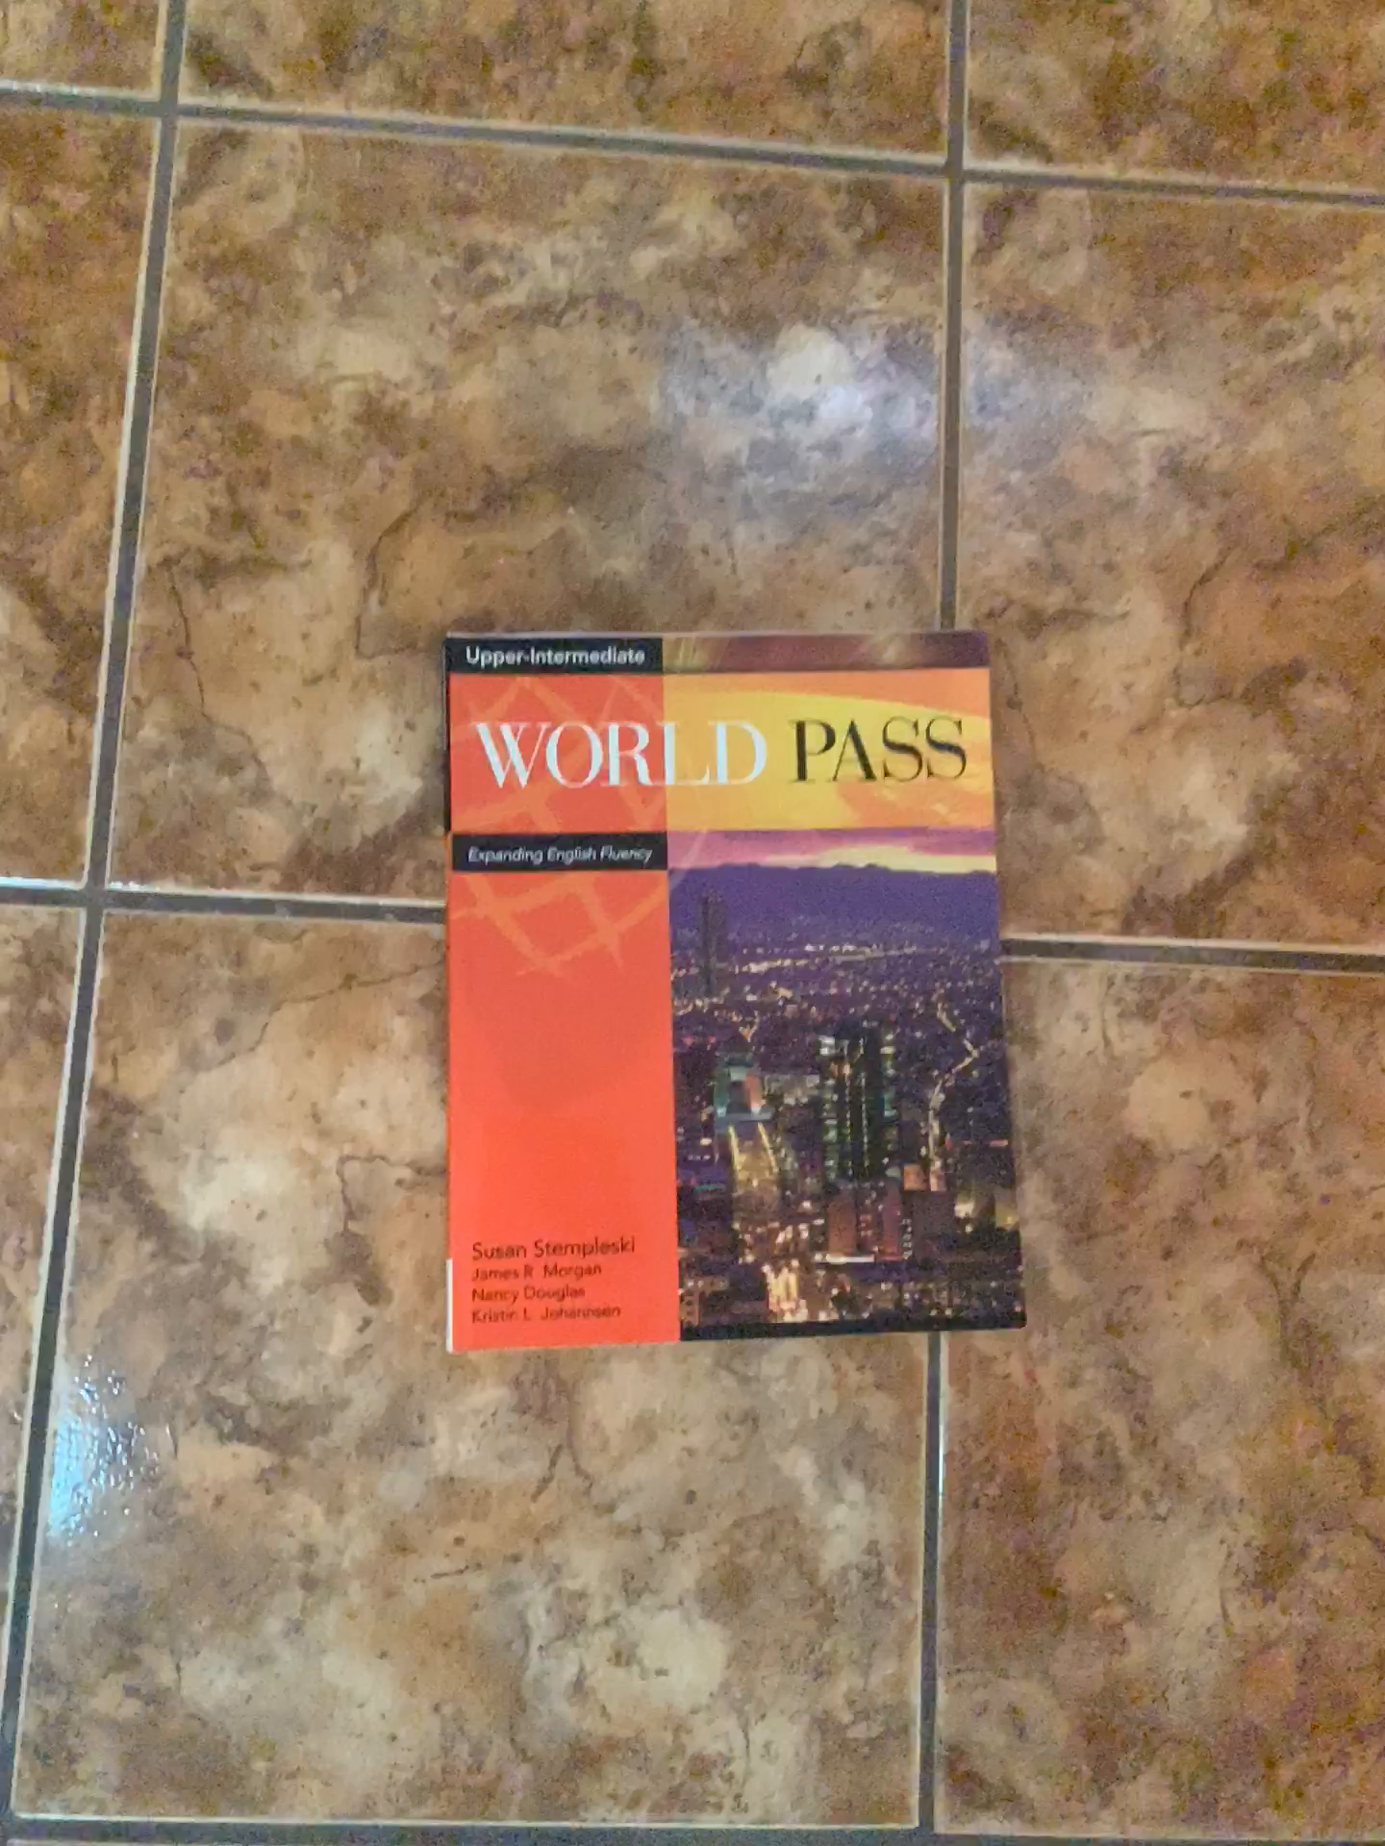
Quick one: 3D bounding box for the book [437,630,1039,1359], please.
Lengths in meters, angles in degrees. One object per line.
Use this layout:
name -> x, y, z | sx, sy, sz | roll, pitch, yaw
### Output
book -> 0.014, 0.022, 0.544 | 0.219, 0.016, 0.271 | -1, 82, -3
